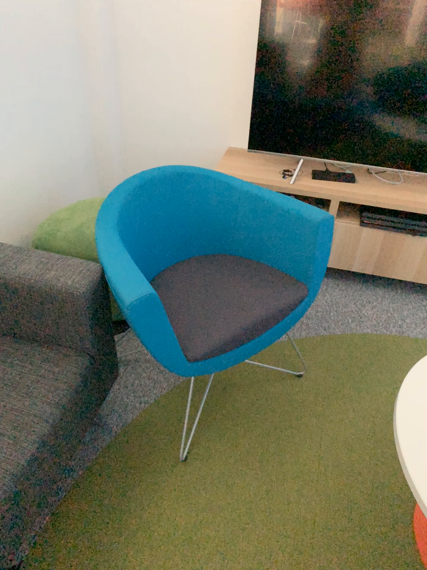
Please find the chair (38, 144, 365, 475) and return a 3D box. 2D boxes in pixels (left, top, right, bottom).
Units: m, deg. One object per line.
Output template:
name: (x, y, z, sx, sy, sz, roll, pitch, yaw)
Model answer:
chair: (-0.043, 0.017, 1.515, 0.762, 0.686, 0.622, -26, 46, -32)
